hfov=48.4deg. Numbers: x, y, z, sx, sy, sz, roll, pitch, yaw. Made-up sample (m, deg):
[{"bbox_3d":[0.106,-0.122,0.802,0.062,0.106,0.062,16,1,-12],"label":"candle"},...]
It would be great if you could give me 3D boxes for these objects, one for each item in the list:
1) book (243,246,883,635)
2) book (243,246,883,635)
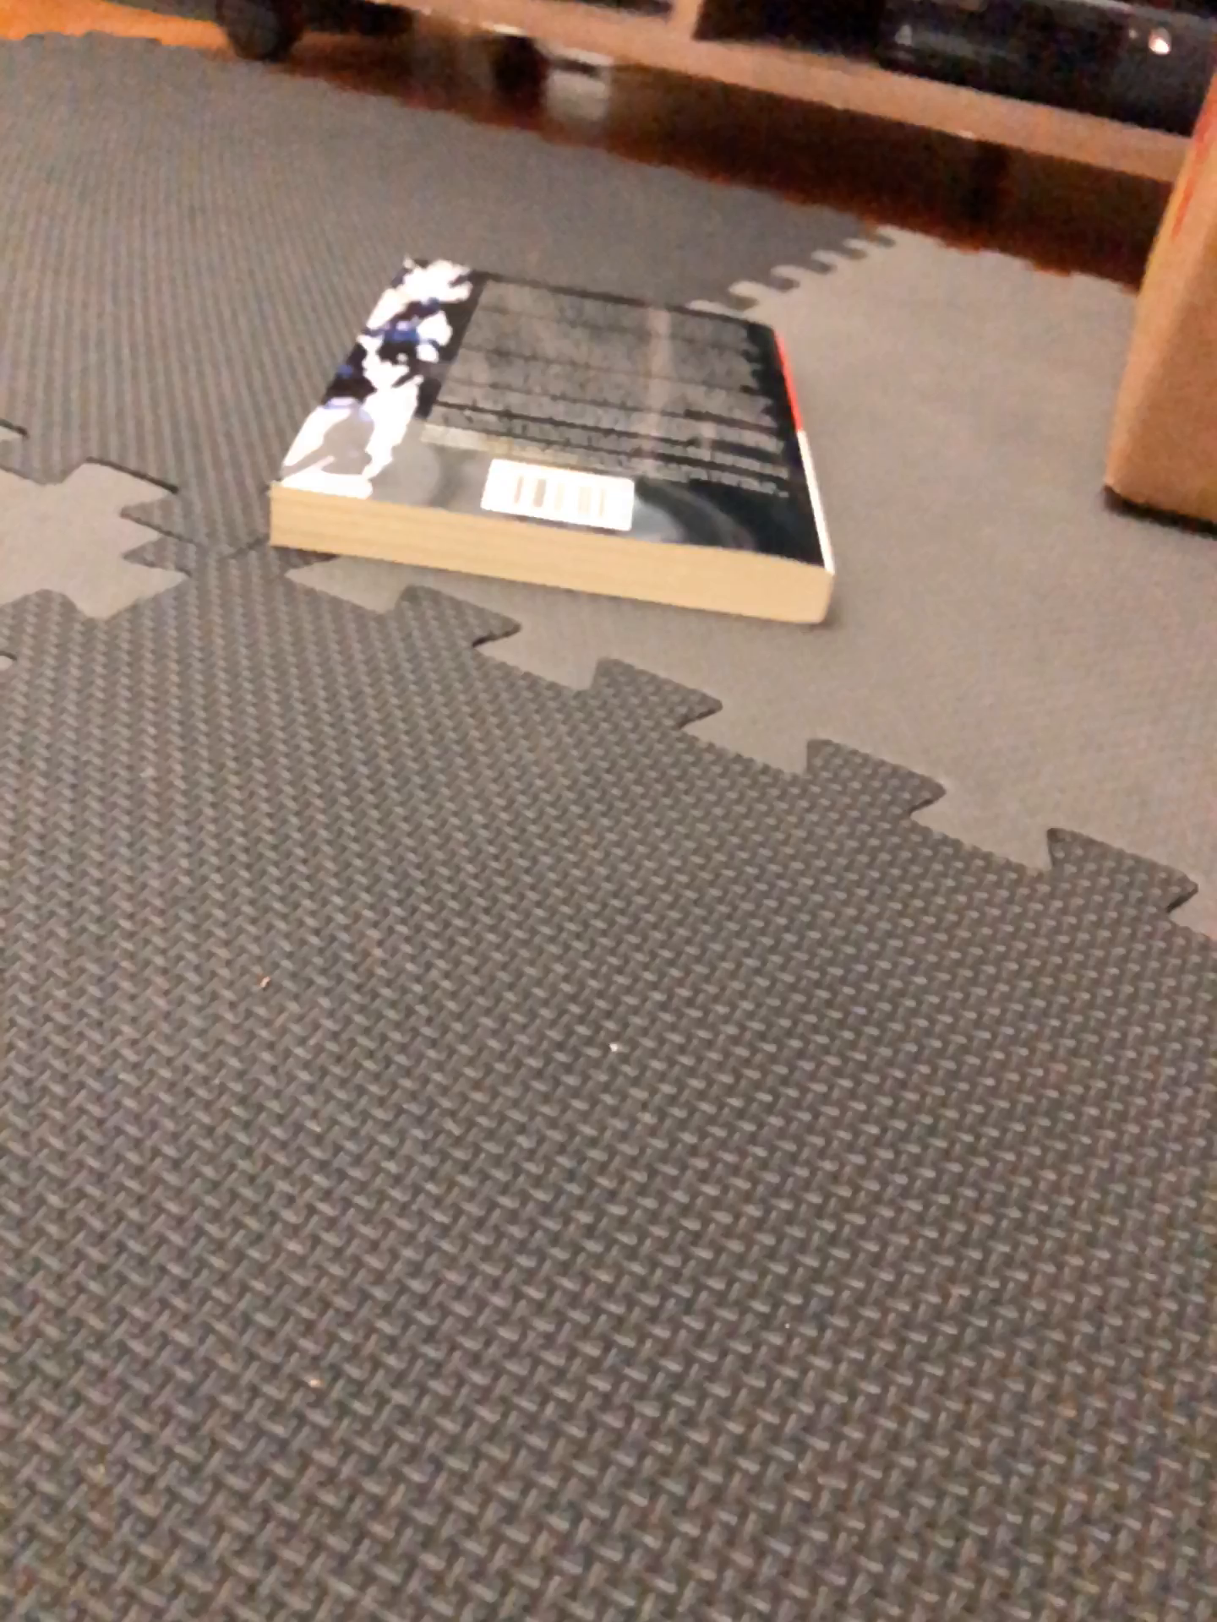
[{"bbox_3d":[-0.007,-0.126,0.416,0.150,0.020,0.231,8,34,-3],"label":"book"},{"bbox_3d":[-0.007,-0.126,0.416,0.150,0.020,0.231,8,34,-3],"label":"book"}]
